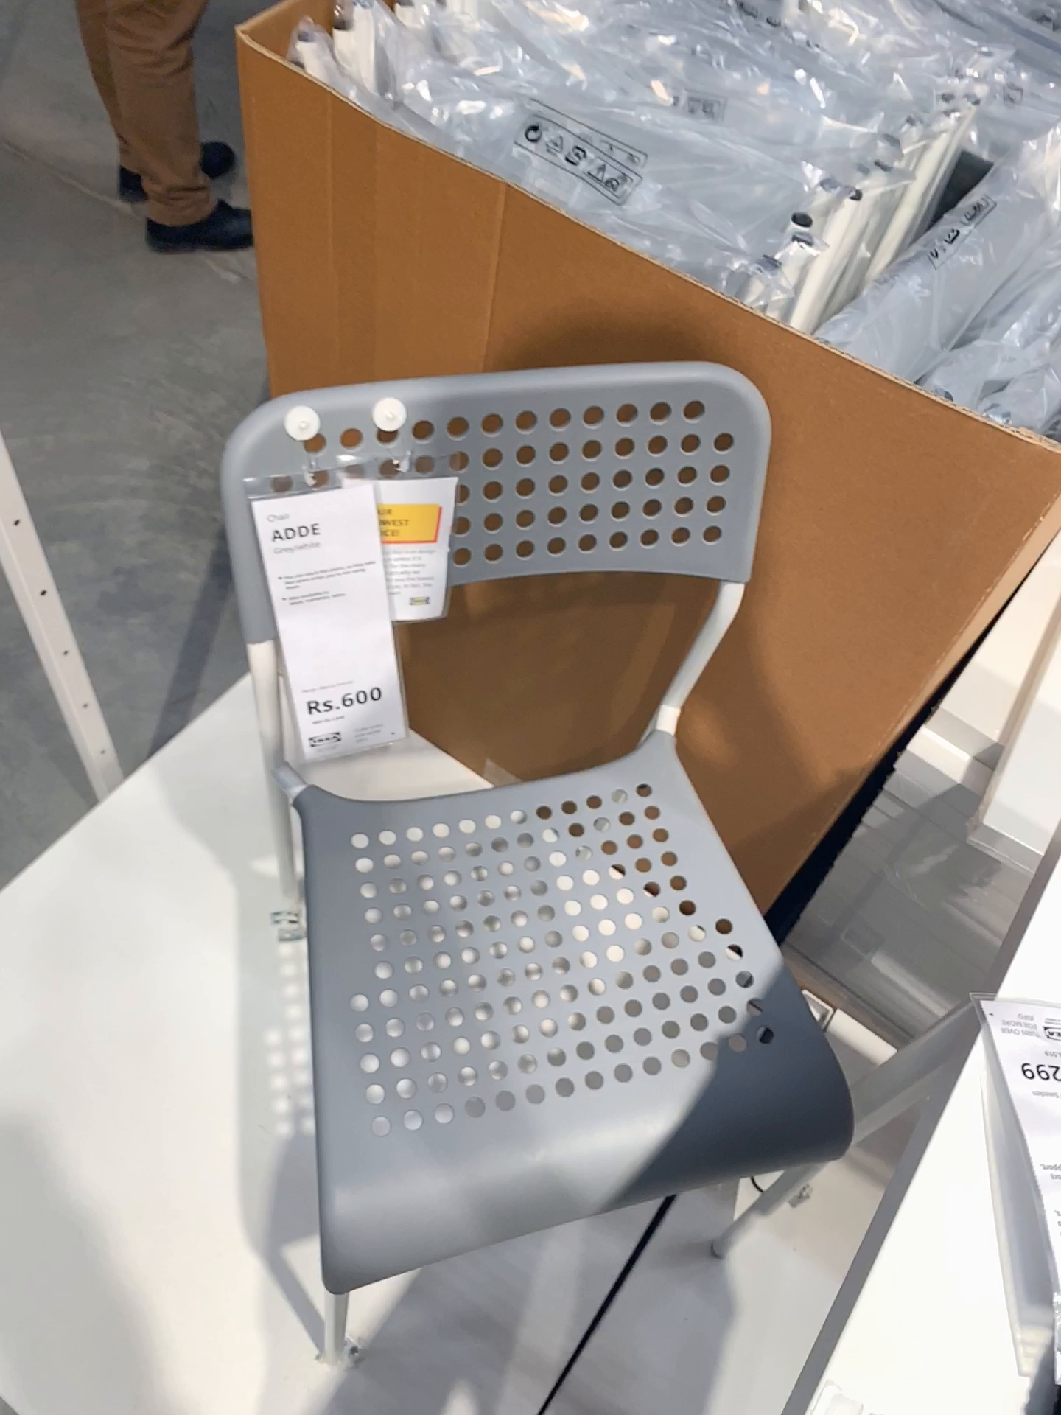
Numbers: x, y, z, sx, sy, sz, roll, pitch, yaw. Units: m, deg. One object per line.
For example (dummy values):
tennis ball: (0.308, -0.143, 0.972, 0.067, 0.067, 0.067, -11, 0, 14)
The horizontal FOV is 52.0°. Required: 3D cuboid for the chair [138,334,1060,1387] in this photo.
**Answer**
chair: (0.004, 0.166, 0.862, 0.460, 0.688, 0.501, -8, 57, -14)
